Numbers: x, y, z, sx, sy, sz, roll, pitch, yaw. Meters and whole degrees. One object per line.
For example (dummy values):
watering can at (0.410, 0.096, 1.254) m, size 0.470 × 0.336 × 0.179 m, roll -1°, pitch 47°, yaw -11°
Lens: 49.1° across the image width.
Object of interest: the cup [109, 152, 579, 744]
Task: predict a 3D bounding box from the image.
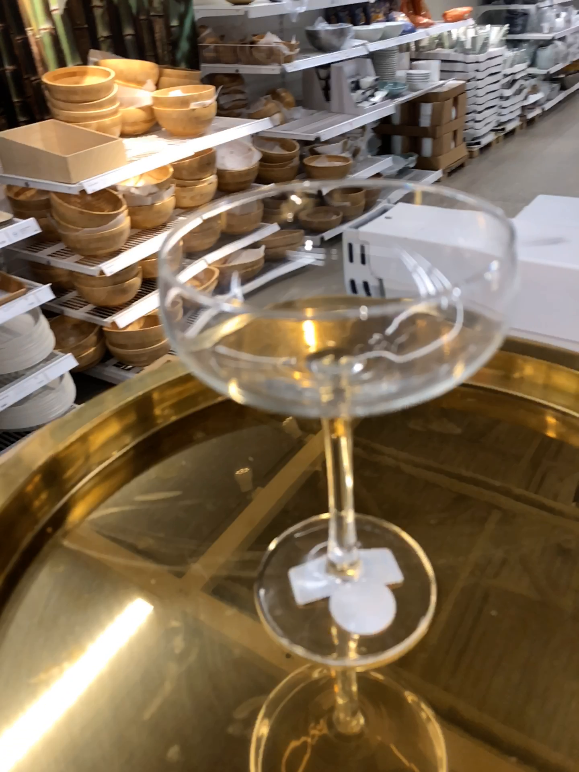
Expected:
cup at (0.018, 0.010, 0.217) m, size 0.110 × 0.139 × 0.110 m, roll -3°, pitch 32°, yaw 2°
